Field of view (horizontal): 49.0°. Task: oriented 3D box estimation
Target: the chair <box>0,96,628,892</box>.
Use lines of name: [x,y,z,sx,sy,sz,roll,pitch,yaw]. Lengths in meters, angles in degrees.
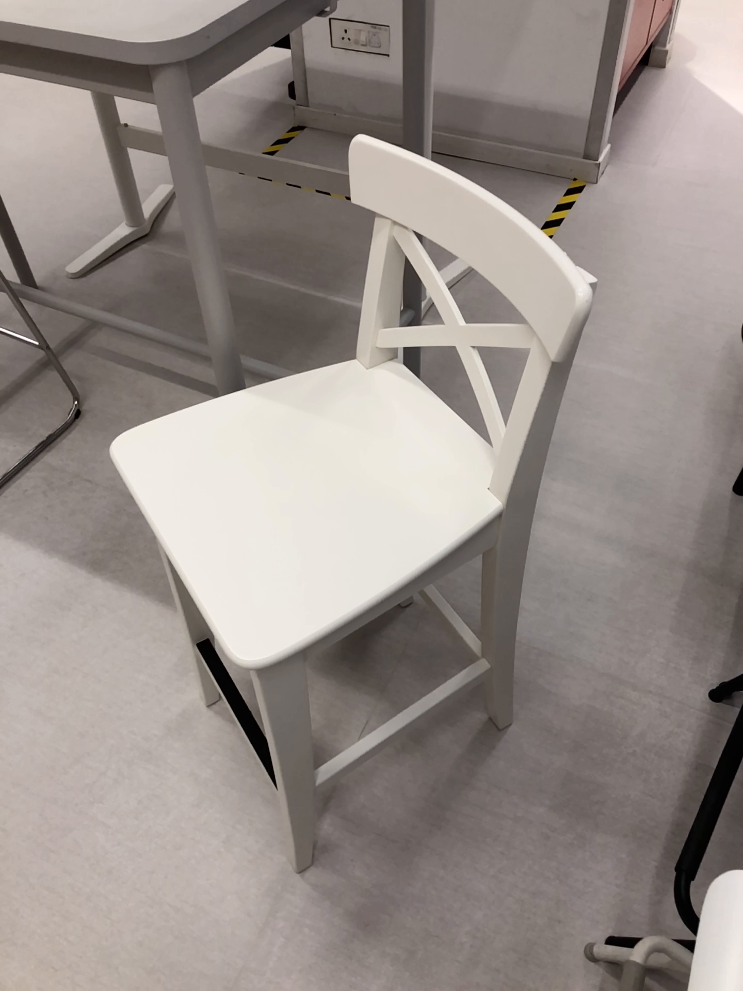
chair: [-0.068,0.054,1.020,0.421,0.835,0.422,-26,52,-20]
